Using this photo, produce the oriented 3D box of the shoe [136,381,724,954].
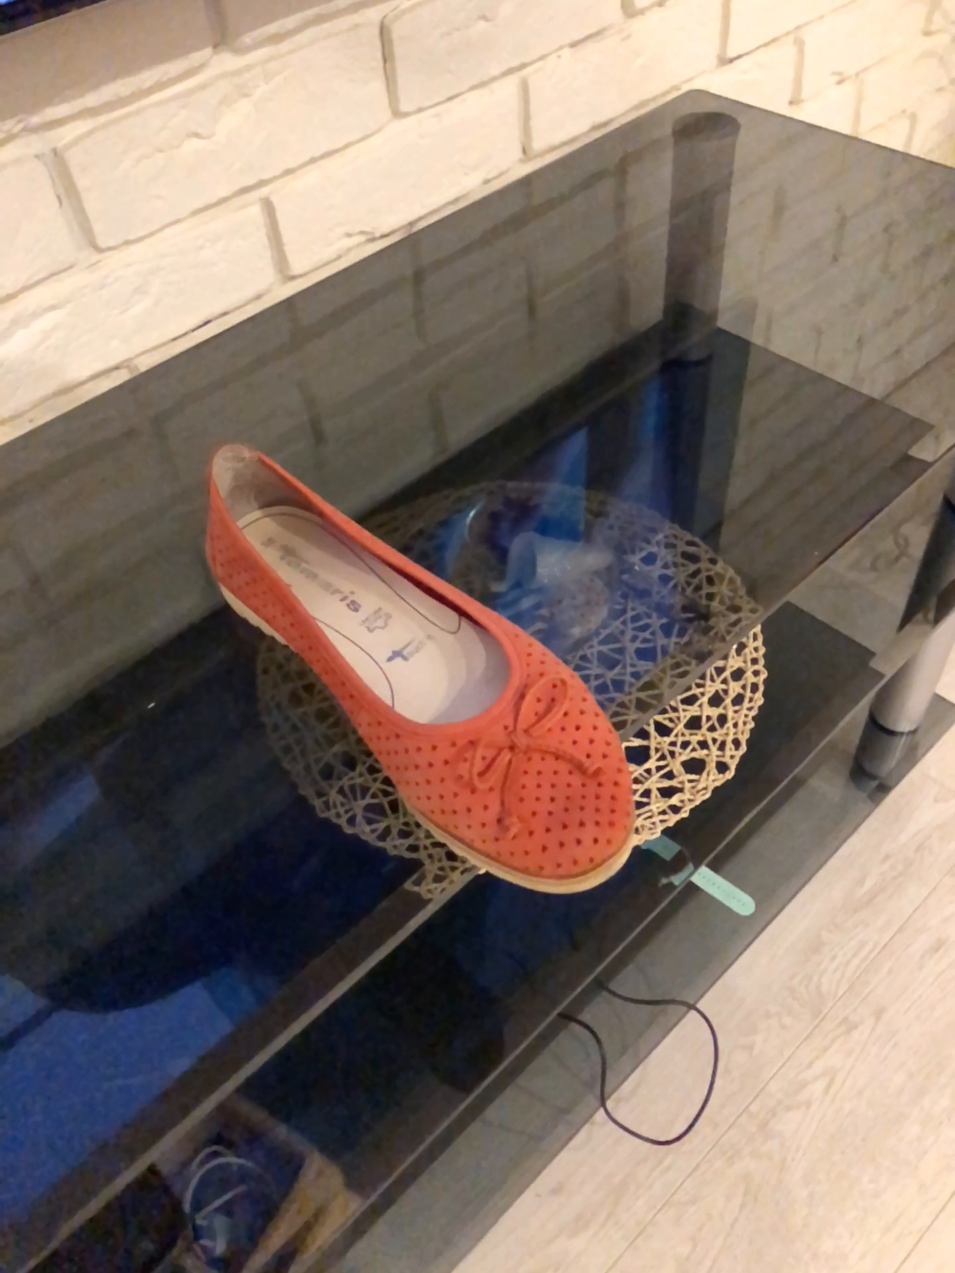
[{"bbox_3d":[-0.029,-0.003,0.429,0.090,0.079,0.248,-35,53,-23],"label":"shoe"}]
